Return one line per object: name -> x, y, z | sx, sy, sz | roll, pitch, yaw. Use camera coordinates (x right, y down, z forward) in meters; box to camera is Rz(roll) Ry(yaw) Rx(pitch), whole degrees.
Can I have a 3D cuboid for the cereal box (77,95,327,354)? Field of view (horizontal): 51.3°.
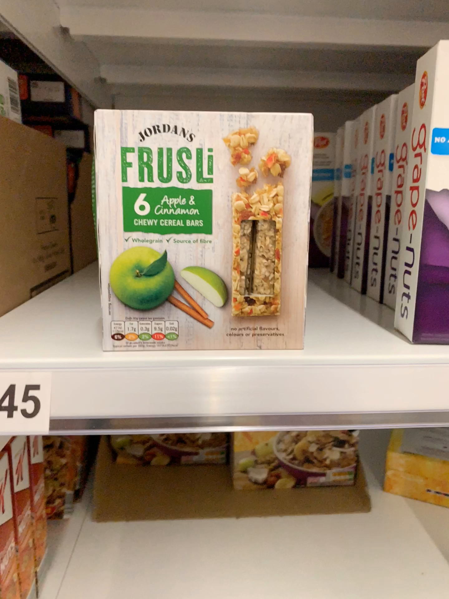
cereal box -> -0.015, -0.048, 0.321 | 0.150, 0.159, 0.050 | 0, 11, -4
